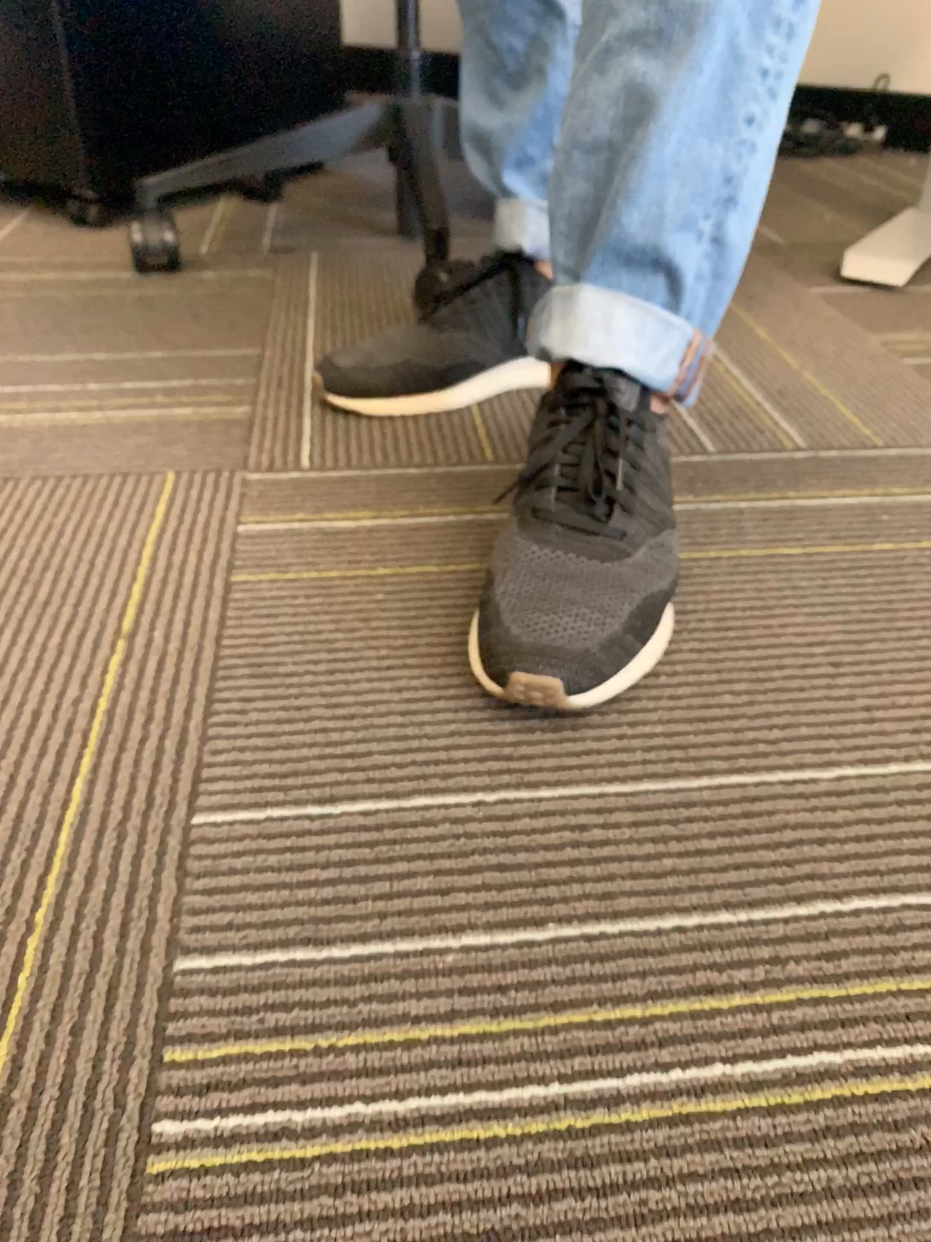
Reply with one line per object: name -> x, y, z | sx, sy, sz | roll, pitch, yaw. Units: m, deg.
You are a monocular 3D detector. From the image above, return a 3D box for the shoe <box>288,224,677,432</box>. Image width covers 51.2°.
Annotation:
shoe -> 0.016, -0.260, 0.839 | 0.306, 0.105, 0.111 | -15, 39, -21

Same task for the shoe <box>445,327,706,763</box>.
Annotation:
shoe -> 0.077, -0.068, 0.582 | 0.112, 0.105, 0.308 | 8, 36, 9
